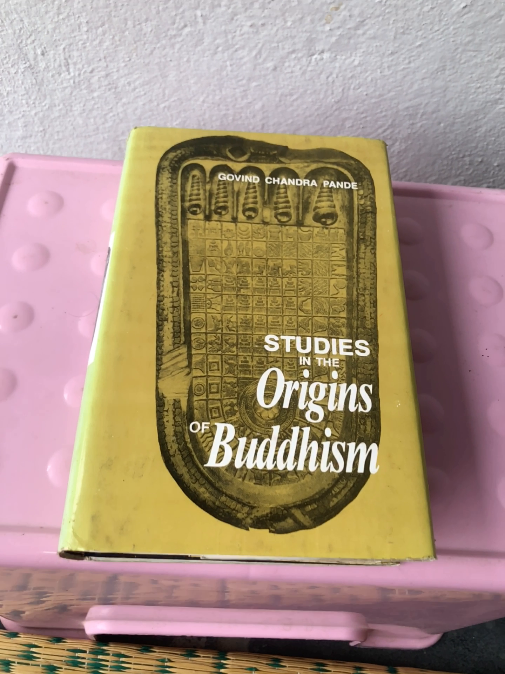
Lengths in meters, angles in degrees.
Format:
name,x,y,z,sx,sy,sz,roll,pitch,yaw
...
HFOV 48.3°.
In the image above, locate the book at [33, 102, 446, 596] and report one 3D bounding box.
name,x,y,z,sx,sy,sz,roll,pitch,yaw
book,-0.001,-0.008,0.276,0.150,0.040,0.240,4,63,-3
